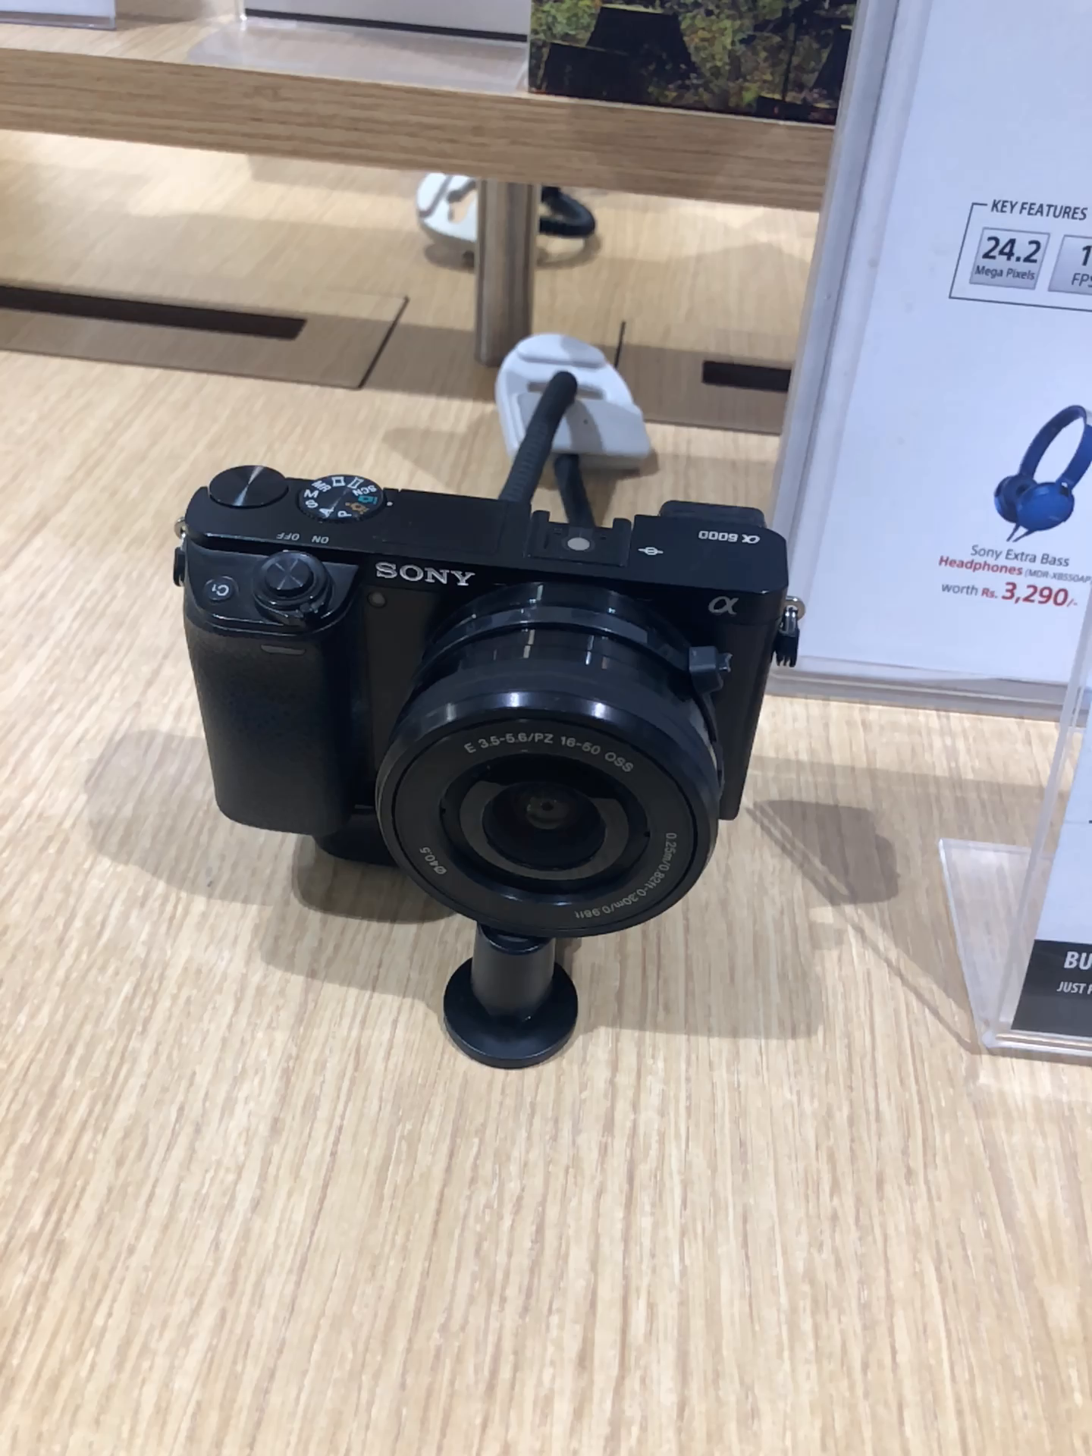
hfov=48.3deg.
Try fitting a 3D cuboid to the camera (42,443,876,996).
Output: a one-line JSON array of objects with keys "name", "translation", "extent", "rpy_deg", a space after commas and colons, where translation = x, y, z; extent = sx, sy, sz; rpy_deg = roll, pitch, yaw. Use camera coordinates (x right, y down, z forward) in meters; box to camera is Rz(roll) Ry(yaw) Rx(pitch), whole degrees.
[{"name": "camera", "translation": [-0.013, -0.003, 0.238], "extent": [0.130, 0.070, 0.070], "rpy_deg": [4, 40, 1]}]
